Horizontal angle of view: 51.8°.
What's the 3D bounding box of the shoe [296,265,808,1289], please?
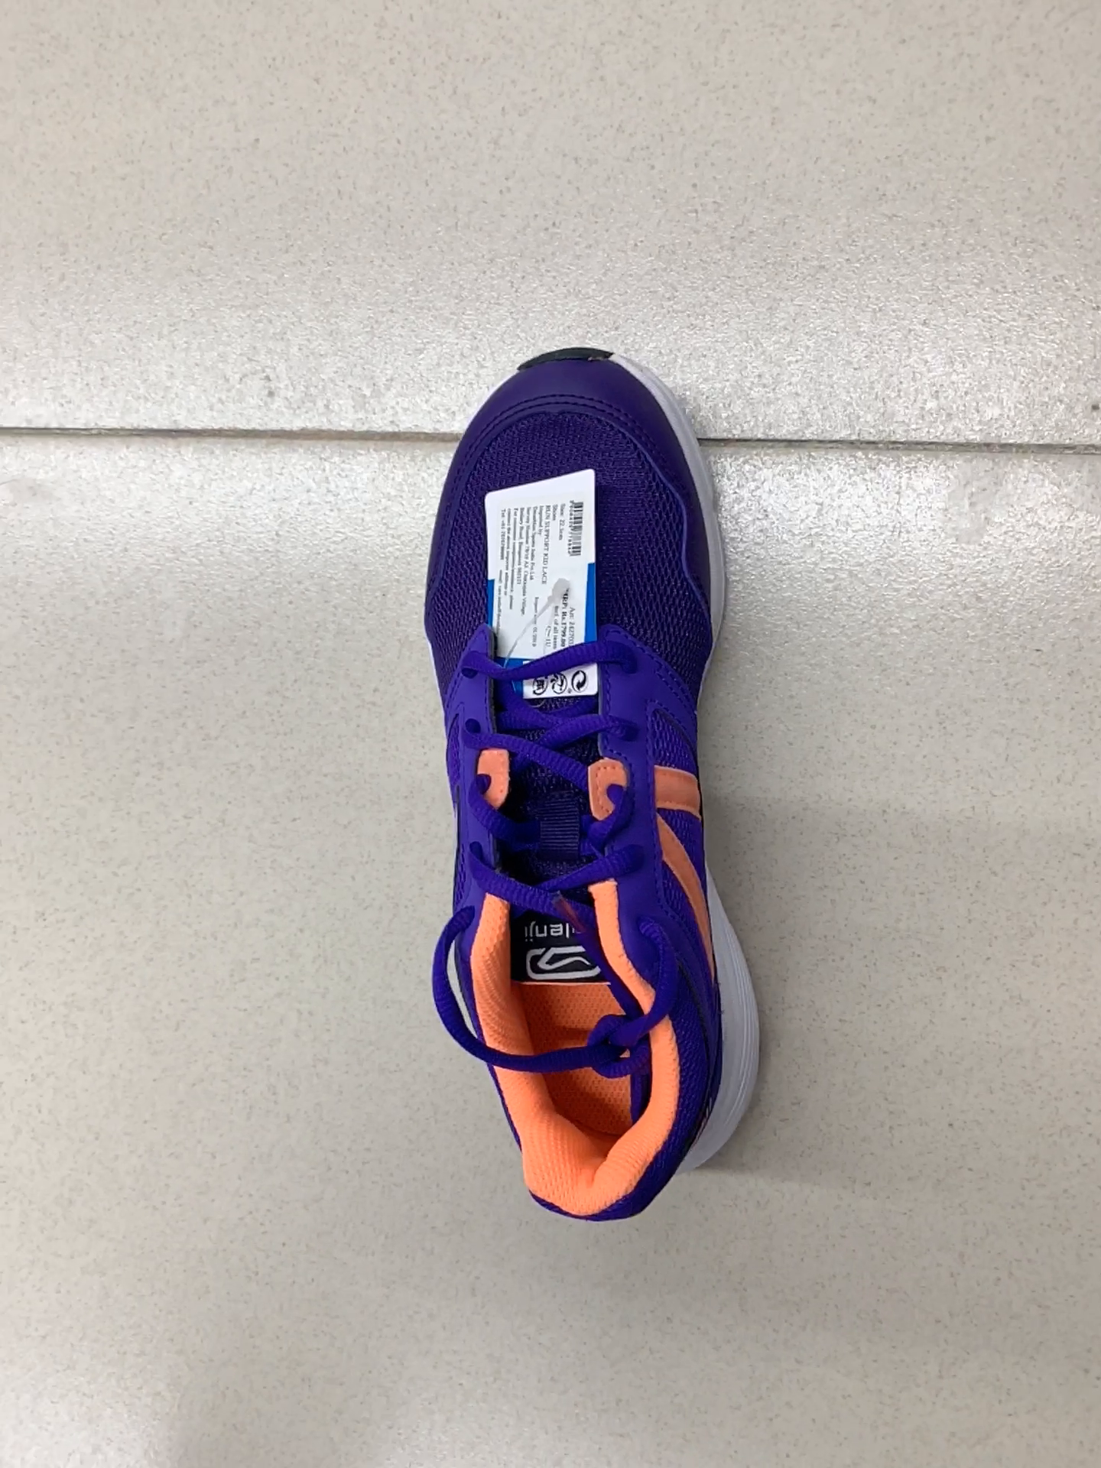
[{"bbox_3d":[0.010,0.015,0.334,0.100,0.100,0.250,-6,94,15],"label":"shoe"}]
